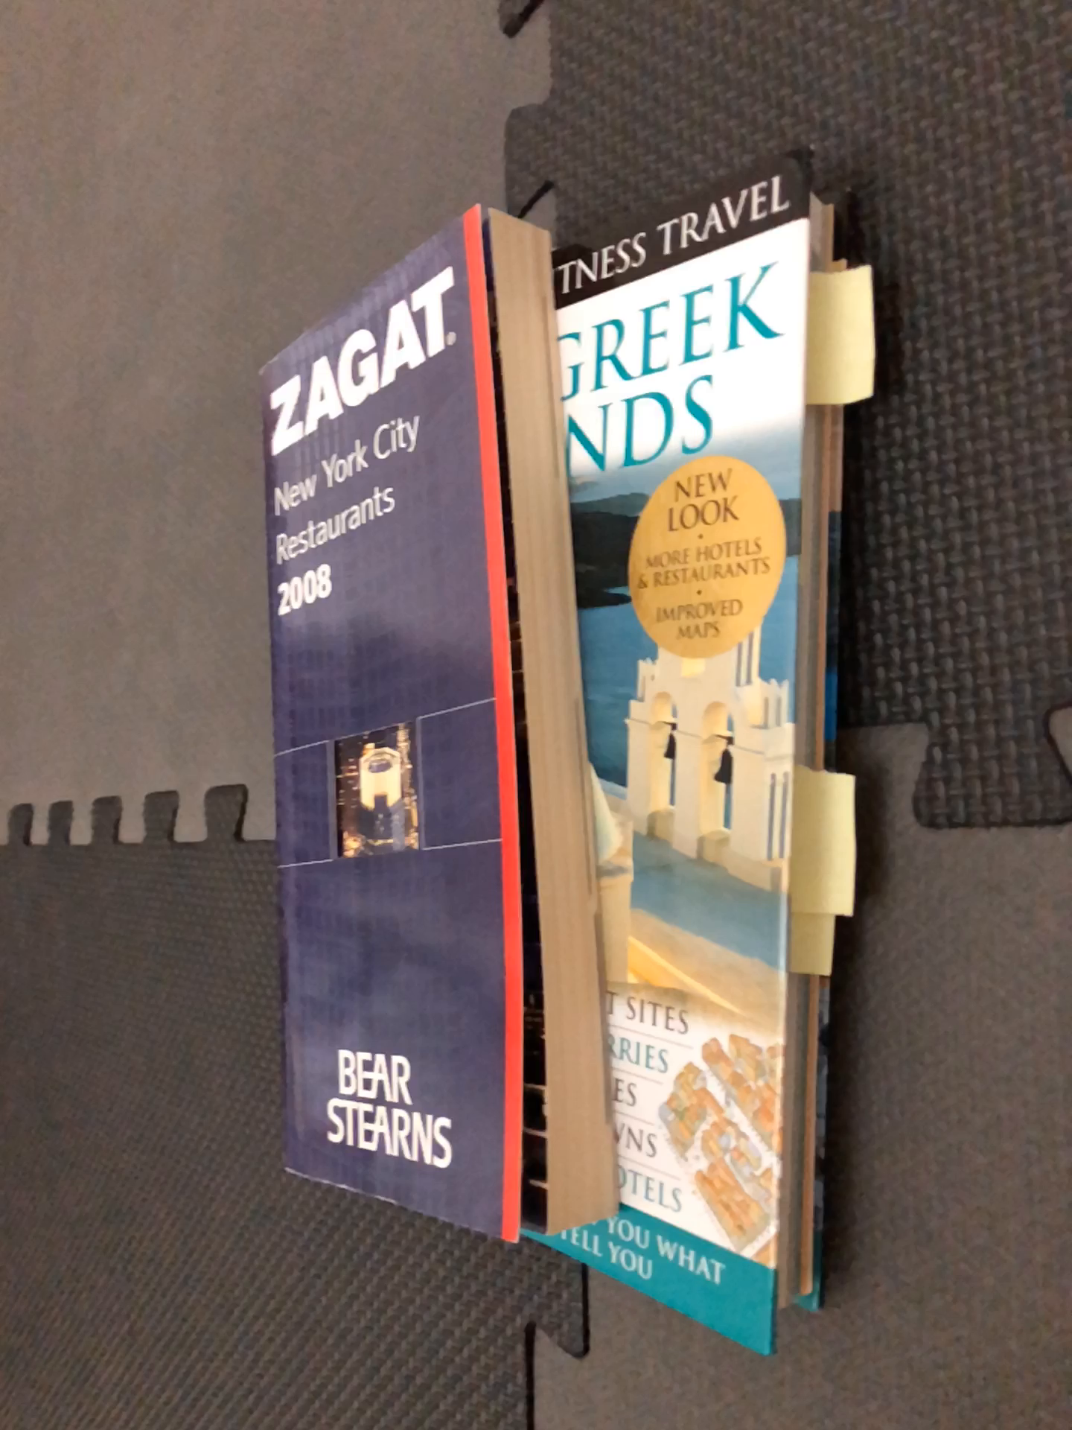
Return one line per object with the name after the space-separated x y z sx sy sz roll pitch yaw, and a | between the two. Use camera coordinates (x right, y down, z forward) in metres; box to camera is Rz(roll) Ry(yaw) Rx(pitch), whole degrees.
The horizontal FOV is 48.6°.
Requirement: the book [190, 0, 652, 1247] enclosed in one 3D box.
-0.038 -0.026 0.279 0.151 0.020 0.250 -8 81 49 | book

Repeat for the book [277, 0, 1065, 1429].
0.010 -0.016 0.251 0.171 0.030 0.260 5 91 49 | book
